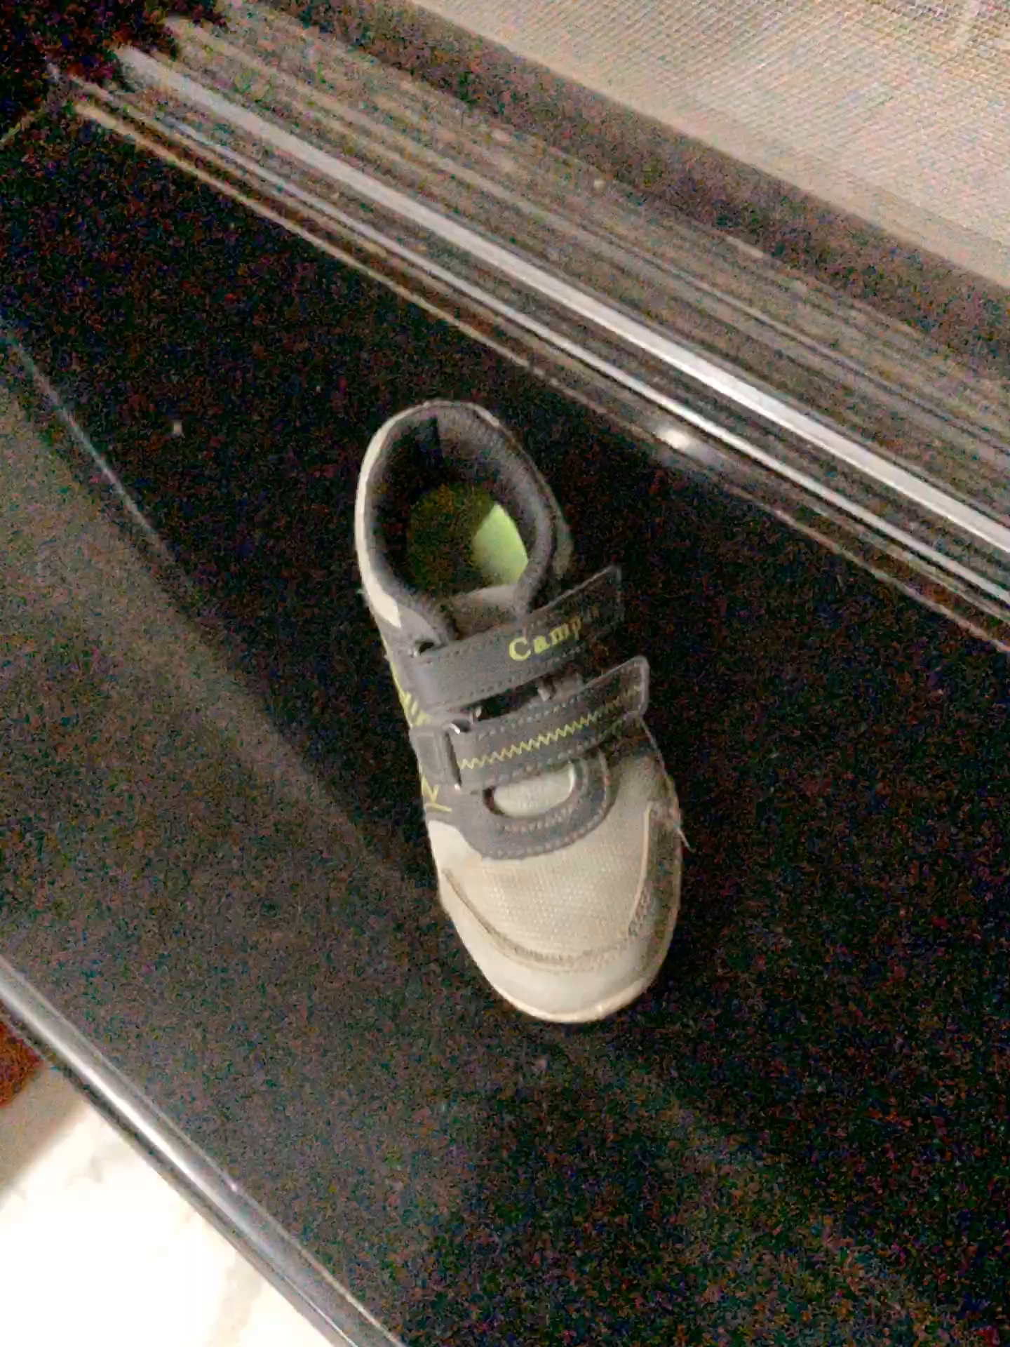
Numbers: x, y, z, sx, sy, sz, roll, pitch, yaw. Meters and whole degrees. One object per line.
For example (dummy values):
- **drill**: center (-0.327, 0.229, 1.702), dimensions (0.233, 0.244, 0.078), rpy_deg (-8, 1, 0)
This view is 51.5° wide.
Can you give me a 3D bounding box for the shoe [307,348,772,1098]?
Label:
- **shoe**: center (0.004, 0.014, 0.361), dimensions (0.090, 0.080, 0.231), rpy_deg (-14, 67, -1)
